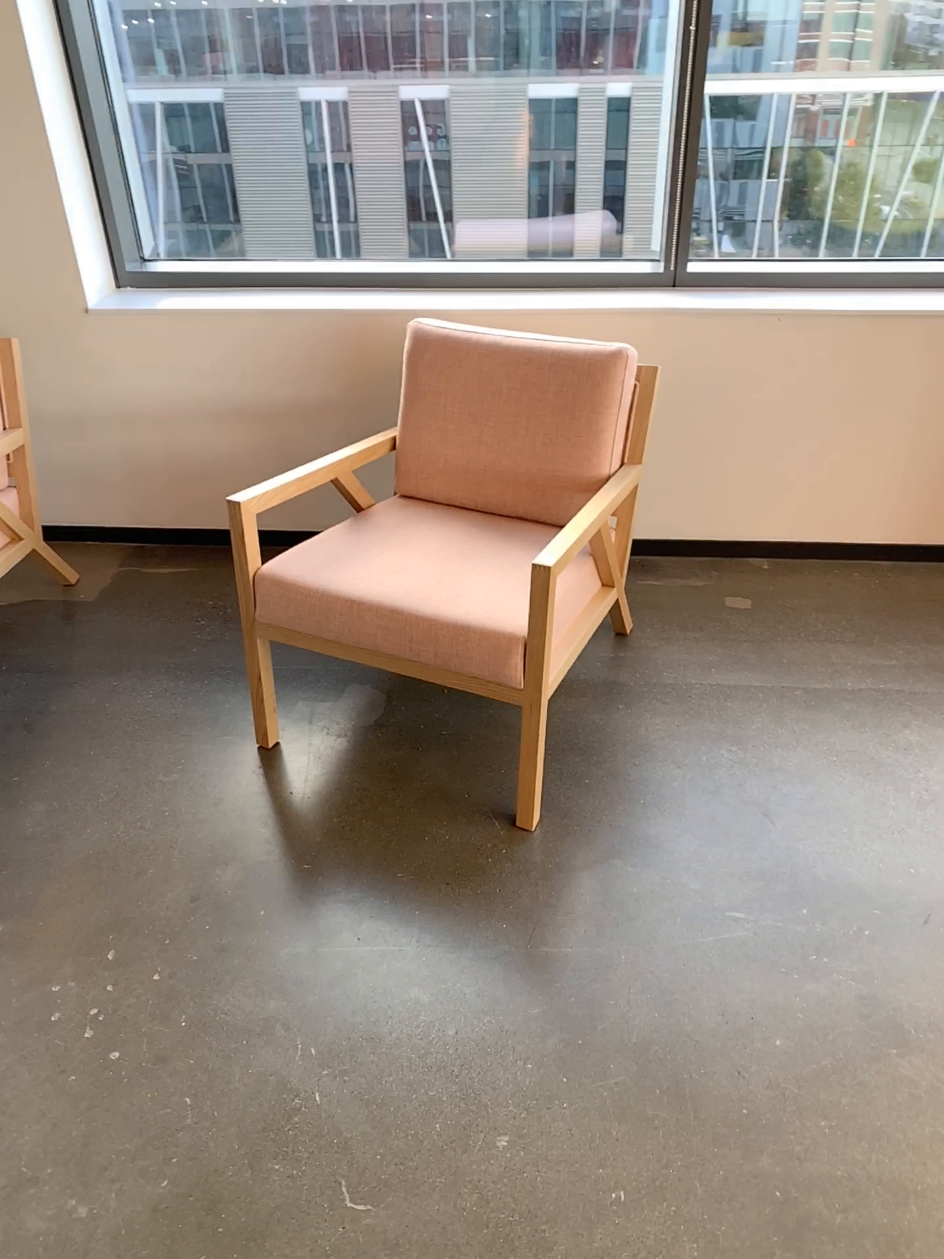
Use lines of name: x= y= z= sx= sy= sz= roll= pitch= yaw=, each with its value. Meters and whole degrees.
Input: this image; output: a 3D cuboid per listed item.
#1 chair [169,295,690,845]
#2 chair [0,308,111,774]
chair: x=-0.034 y=-0.191 z=2.088 sx=0.741 sy=0.795 sz=0.774 roll=13 pitch=35 yaw=22
chair: x=-1.446 y=-0.236 z=2.263 sx=0.740 sy=0.795 sz=0.775 roll=1 pitch=34 yaw=5
